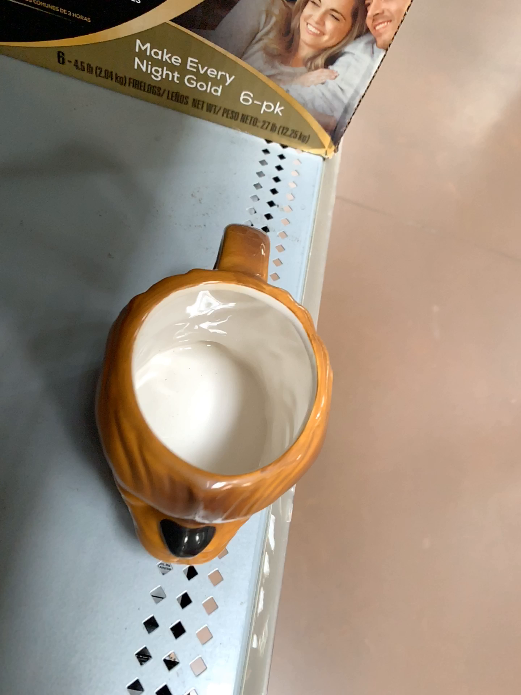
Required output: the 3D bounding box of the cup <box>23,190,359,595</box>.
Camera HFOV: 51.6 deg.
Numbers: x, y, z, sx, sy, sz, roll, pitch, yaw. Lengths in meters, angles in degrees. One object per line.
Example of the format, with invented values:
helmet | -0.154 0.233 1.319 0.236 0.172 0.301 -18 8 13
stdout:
cup | -0.032 0.034 0.261 0.097 0.138 0.132 17 59 -8
